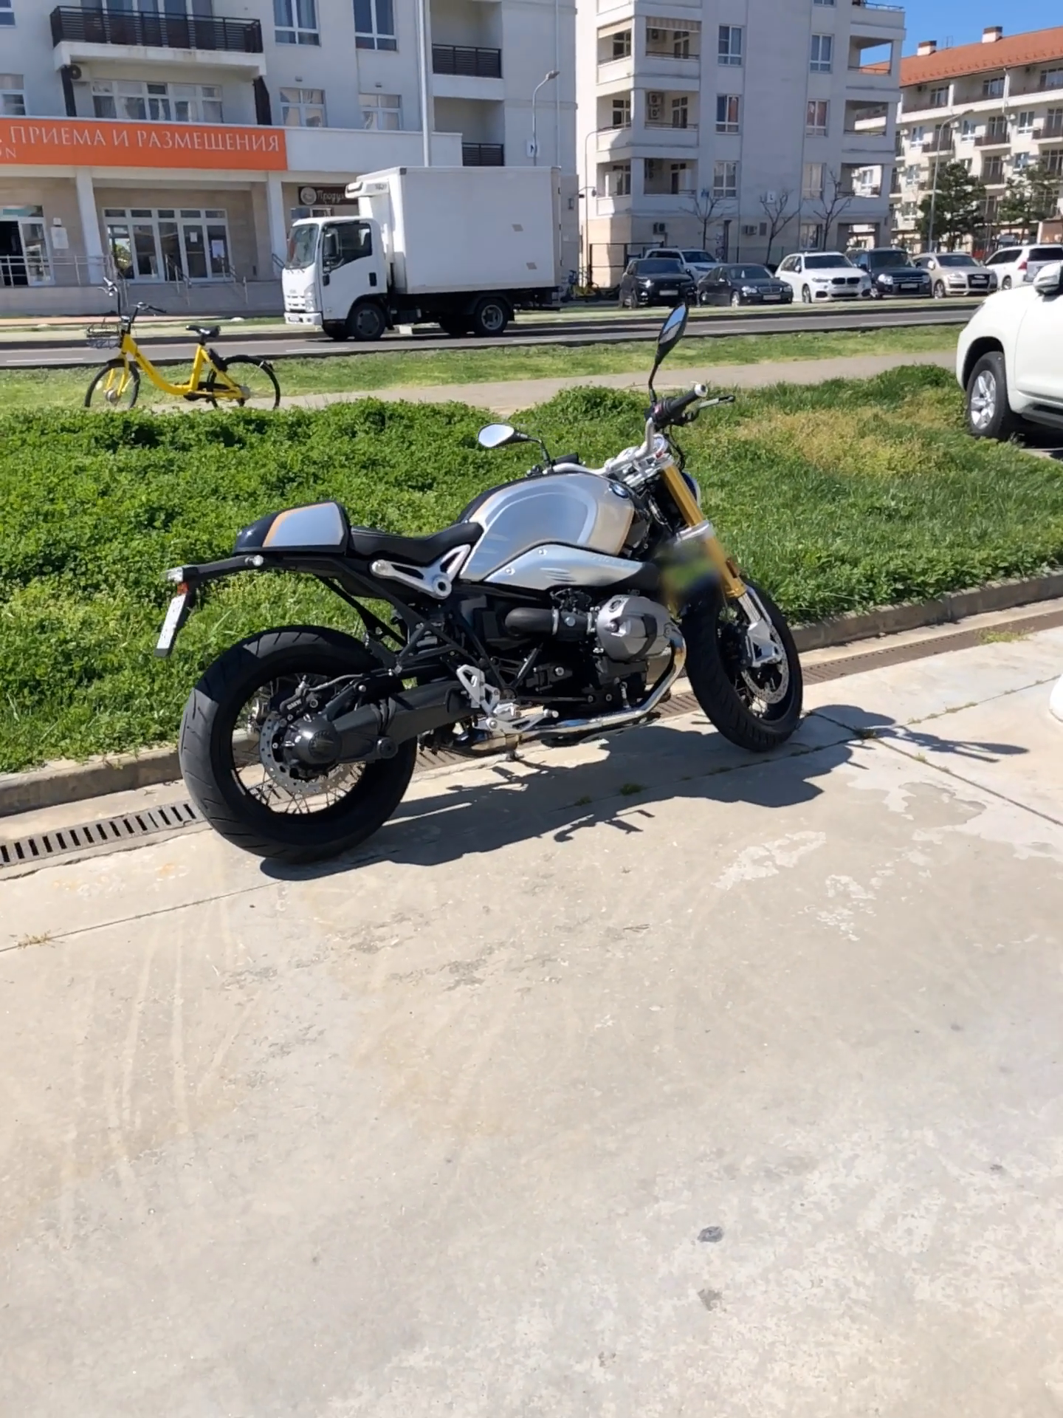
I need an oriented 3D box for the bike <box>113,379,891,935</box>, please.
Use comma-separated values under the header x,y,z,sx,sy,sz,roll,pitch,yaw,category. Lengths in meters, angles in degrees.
x,y,z,sx,sy,sz,roll,pitch,yaw,category
0.032,-0.292,3.382,2.071,1.122,0.649,-15,24,-32,bike
